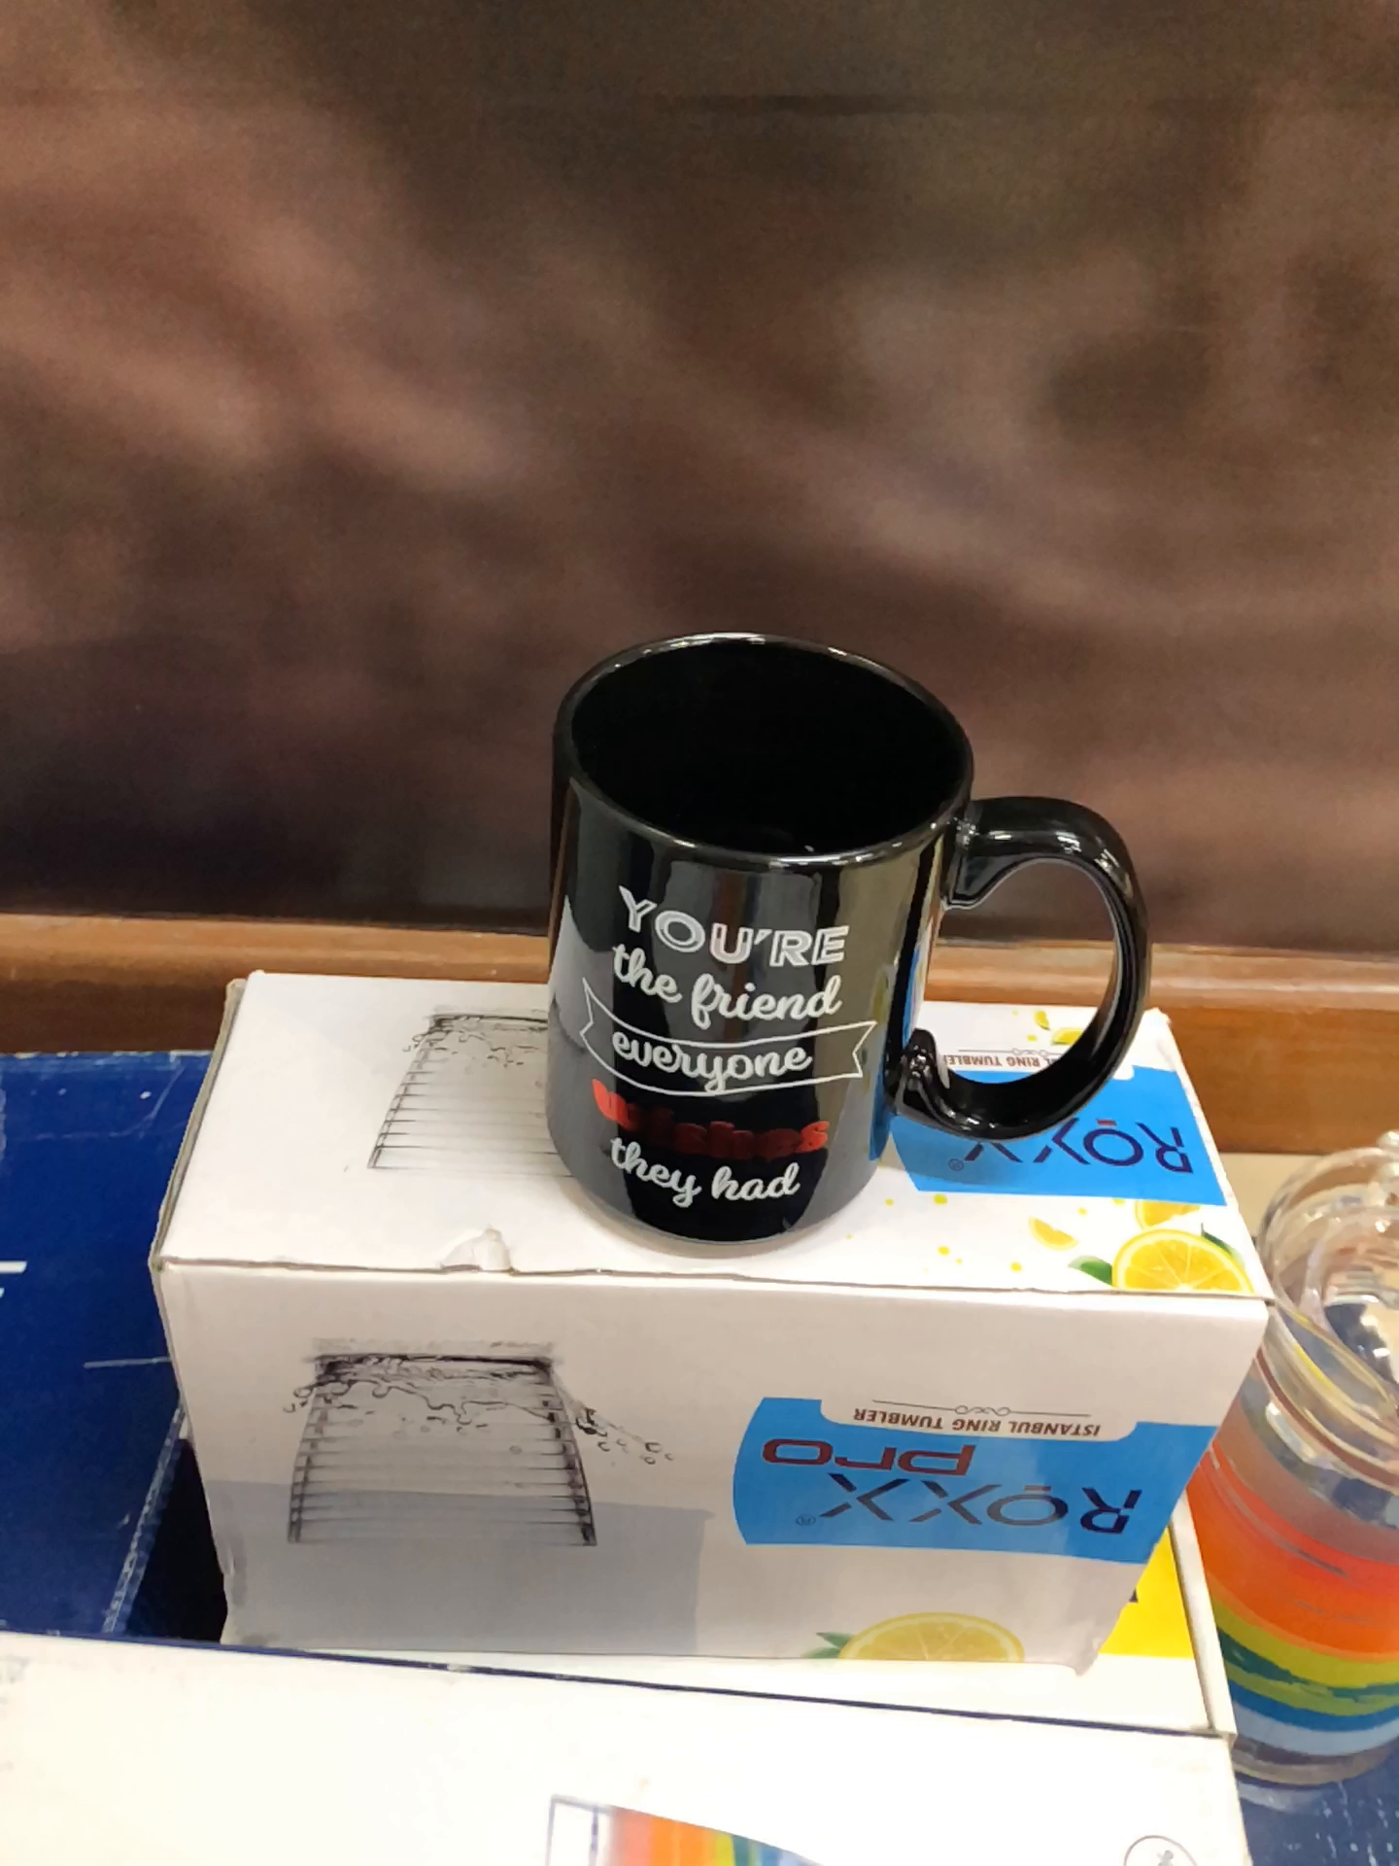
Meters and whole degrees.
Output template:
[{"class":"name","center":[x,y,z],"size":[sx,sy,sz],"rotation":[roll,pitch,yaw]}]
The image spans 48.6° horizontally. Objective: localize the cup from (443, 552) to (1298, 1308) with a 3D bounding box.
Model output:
[{"class":"cup","center":[0.028,-0.002,0.305],"size":[0.130,0.109,0.091],"rotation":[3,38,2]}]
